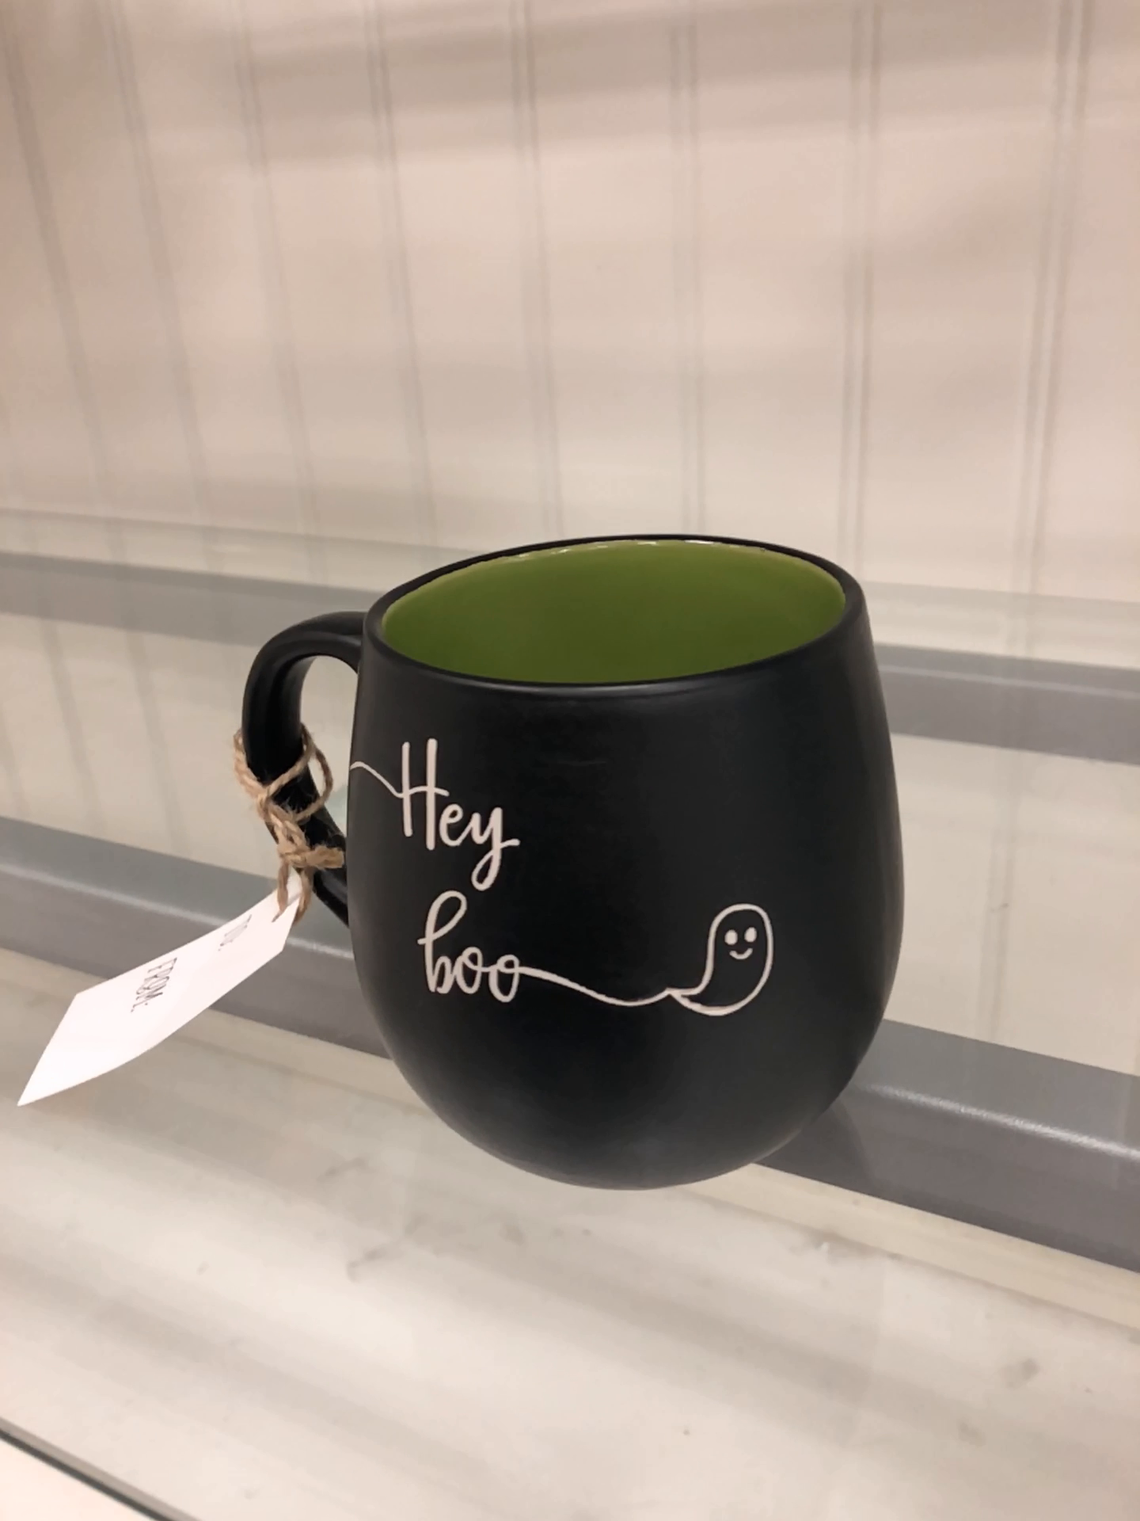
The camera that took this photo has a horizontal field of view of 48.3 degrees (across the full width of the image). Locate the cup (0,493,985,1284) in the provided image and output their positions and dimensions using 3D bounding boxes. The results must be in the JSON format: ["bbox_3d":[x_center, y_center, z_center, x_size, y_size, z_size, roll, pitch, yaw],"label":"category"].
[{"bbox_3d":[-0.010,0.009,0.241,0.149,0.089,0.090,9,27,26],"label":"cup"}]
